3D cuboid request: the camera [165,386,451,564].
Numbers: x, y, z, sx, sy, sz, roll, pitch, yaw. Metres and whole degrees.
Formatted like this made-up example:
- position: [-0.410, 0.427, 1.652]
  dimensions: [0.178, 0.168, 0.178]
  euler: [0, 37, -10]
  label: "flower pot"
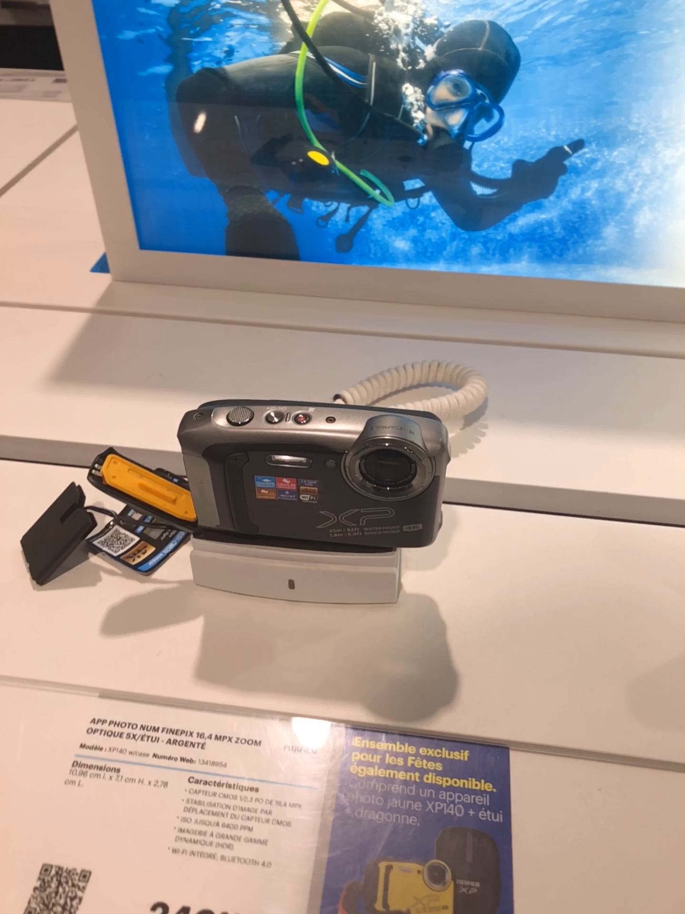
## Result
- position: [-0.012, 0.009, 0.311]
  dimensions: [0.106, 0.069, 0.023]
  euler: [3, 41, 4]
  label: "camera"
